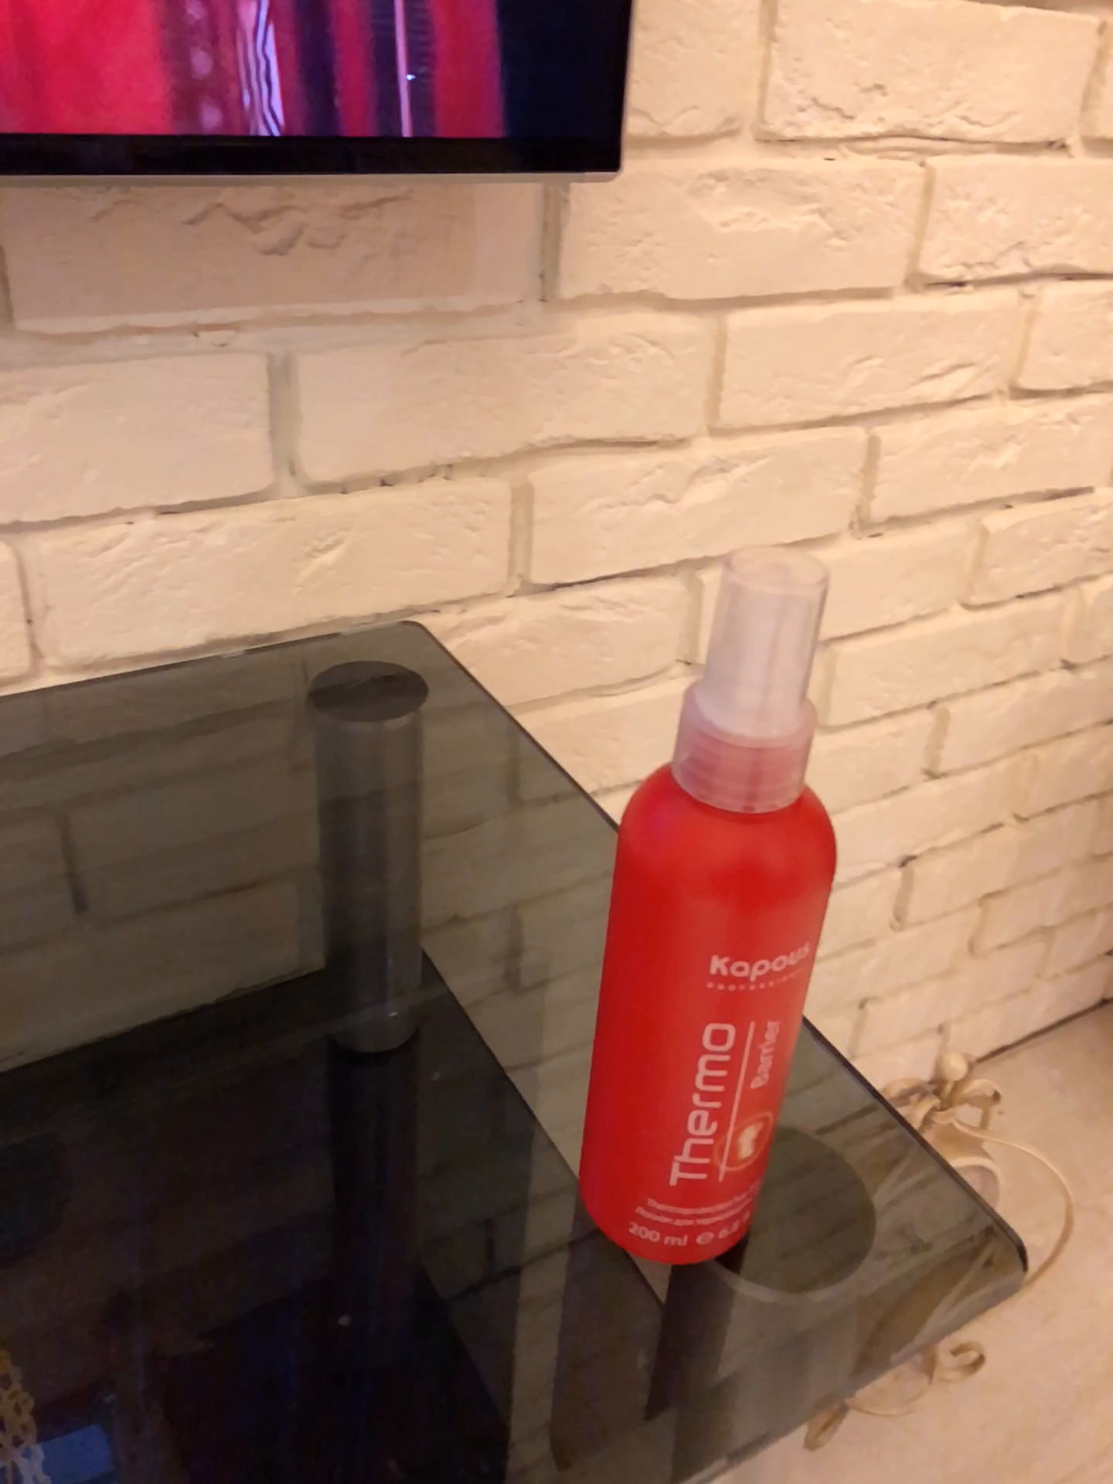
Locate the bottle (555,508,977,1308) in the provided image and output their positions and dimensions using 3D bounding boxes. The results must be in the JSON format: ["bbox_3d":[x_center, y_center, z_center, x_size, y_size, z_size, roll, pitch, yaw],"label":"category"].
[{"bbox_3d":[0.038,0.043,0.279,0.048,0.179,0.052,3,31,-2],"label":"bottle"}]
